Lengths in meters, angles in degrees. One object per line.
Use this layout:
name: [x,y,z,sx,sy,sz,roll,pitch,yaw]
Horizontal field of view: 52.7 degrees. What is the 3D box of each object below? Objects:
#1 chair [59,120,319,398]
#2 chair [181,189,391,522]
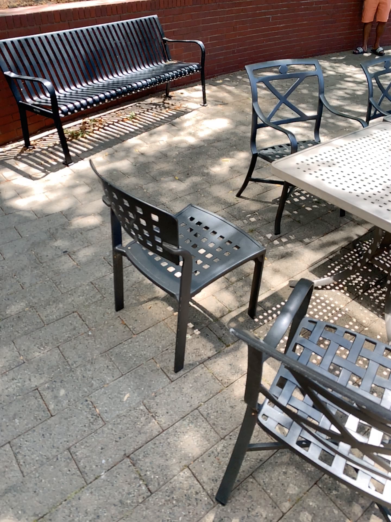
chair: [-0.030,-0.055,1.583,0.651,0.706,0.623,-29,47,-33]
chair: [0.400,0.366,1.012,0.622,0.755,0.652,21,42,23]
